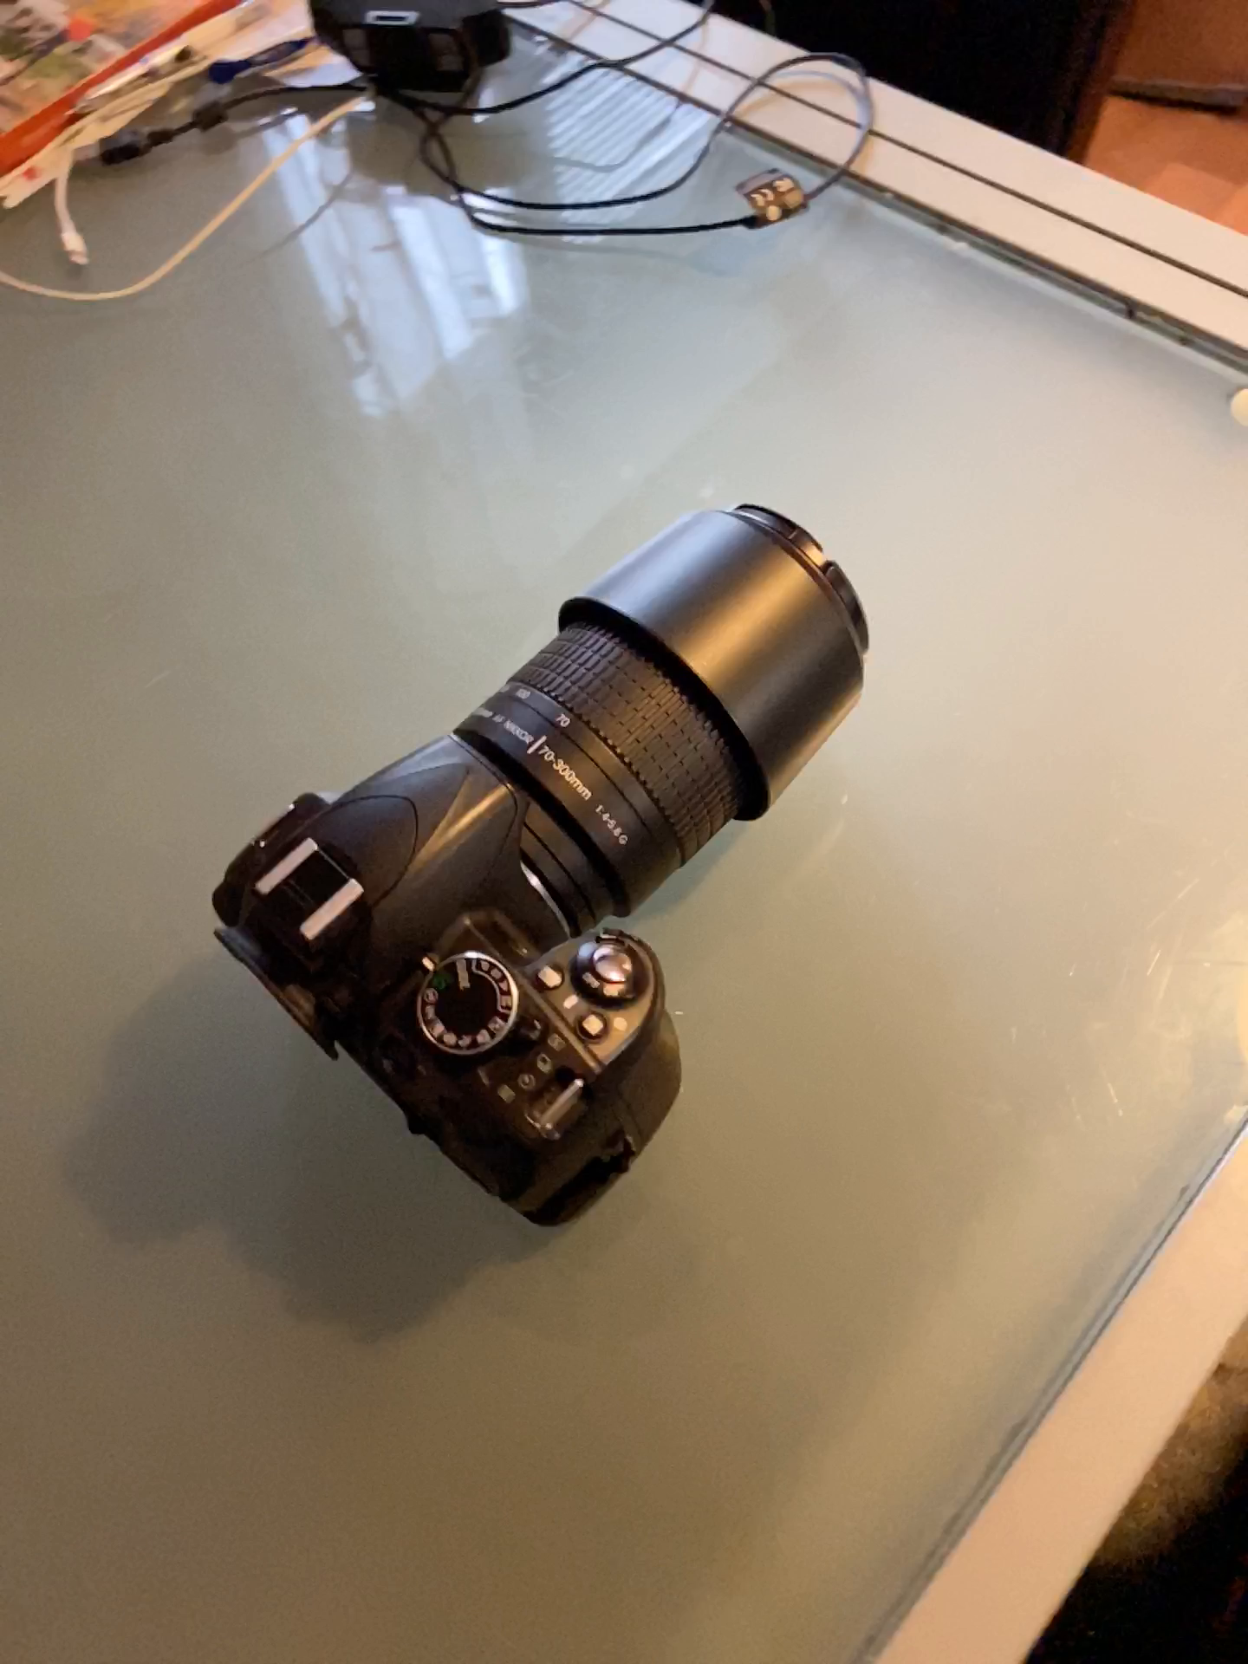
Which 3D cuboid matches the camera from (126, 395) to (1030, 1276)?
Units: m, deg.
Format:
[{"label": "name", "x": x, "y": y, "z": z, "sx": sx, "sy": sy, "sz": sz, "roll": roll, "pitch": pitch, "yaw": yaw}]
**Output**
[{"label": "camera", "x": -0.006, "y": -0.003, "z": 0.351, "sx": 0.124, "sy": 0.094, "sz": 0.188, "roll": 38, "pitch": 71, "yaw": 23}]
